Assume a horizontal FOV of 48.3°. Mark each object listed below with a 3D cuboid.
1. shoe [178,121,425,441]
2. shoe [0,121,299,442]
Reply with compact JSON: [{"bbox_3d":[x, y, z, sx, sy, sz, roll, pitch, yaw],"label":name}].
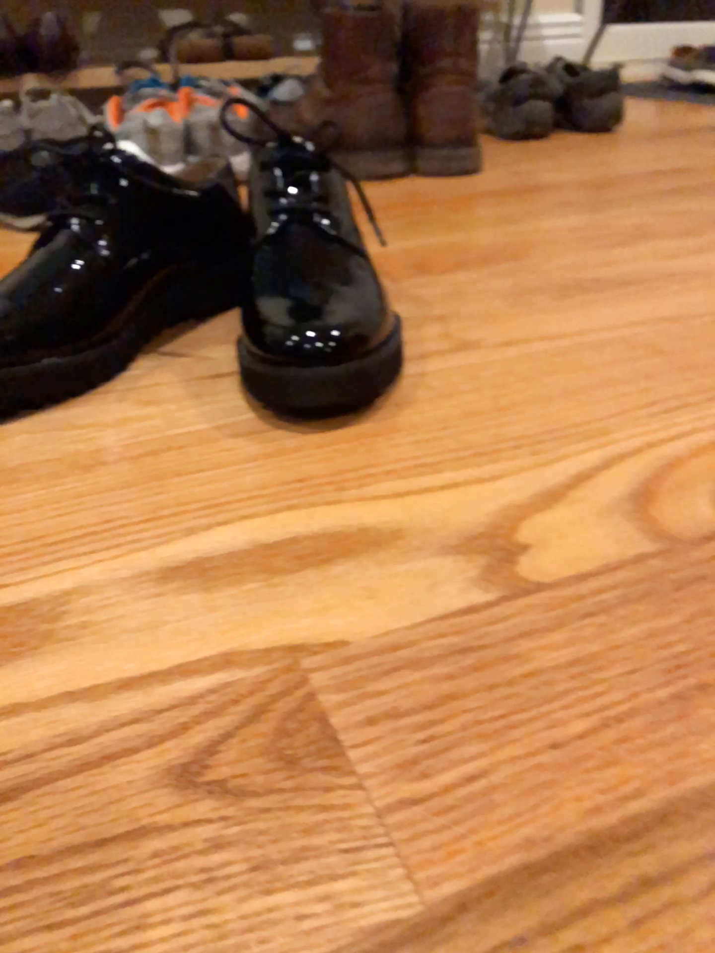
[{"bbox_3d":[-0.023,-0.125,0.441,0.095,0.101,0.252,-2,30,0],"label":"shoe"},{"bbox_3d":[-0.145,-0.127,0.445,0.095,0.101,0.252,14,34,26],"label":"shoe"}]
